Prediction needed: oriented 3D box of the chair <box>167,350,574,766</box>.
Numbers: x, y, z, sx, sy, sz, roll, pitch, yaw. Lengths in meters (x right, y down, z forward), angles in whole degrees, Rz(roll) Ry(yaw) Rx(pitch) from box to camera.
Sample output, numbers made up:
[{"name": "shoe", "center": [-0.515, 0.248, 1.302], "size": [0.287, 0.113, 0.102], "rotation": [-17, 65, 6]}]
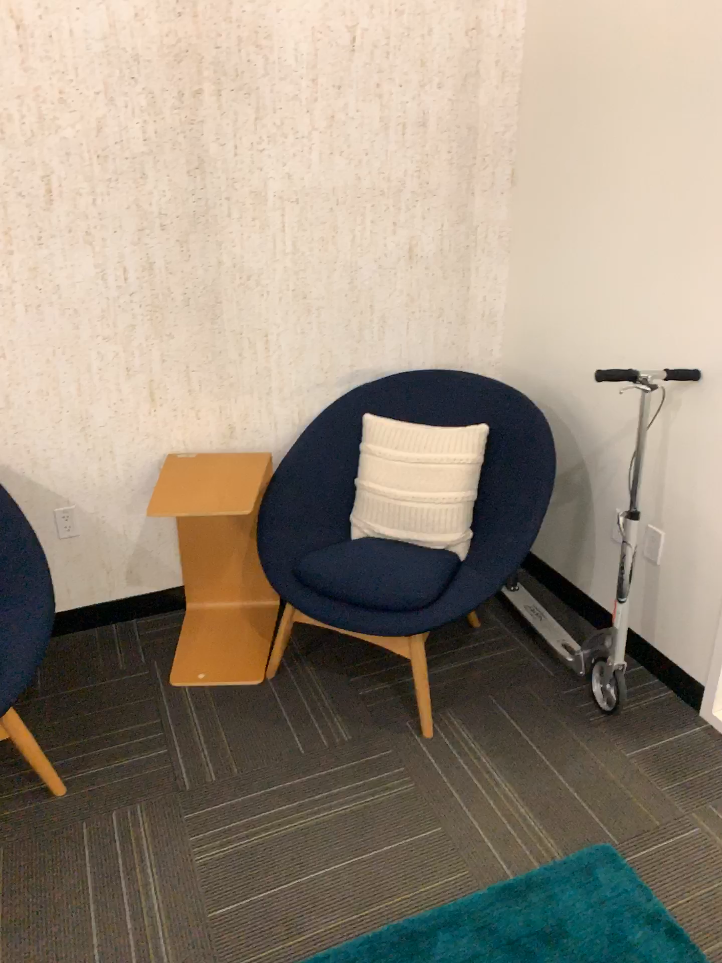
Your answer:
[{"name": "chair", "center": [0.079, 0.130, 2.311], "size": [0.892, 0.816, 0.883], "rotation": [11, 26, 25]}]
